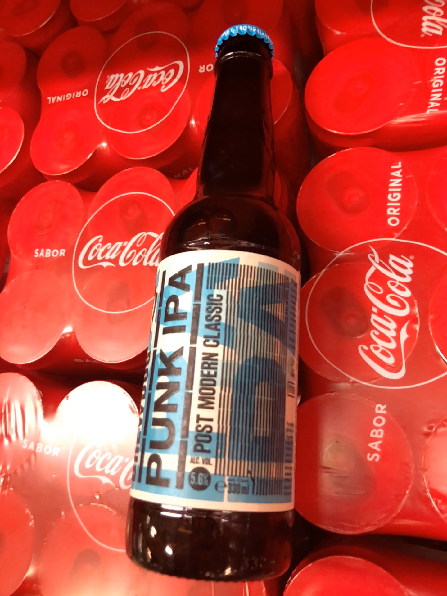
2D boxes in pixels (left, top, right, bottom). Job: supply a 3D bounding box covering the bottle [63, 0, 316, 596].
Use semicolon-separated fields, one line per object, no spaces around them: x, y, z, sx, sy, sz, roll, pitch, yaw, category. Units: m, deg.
-0.001;-0.025;0.192;0.060;0.060;0.230;-3;73;21;bottle
